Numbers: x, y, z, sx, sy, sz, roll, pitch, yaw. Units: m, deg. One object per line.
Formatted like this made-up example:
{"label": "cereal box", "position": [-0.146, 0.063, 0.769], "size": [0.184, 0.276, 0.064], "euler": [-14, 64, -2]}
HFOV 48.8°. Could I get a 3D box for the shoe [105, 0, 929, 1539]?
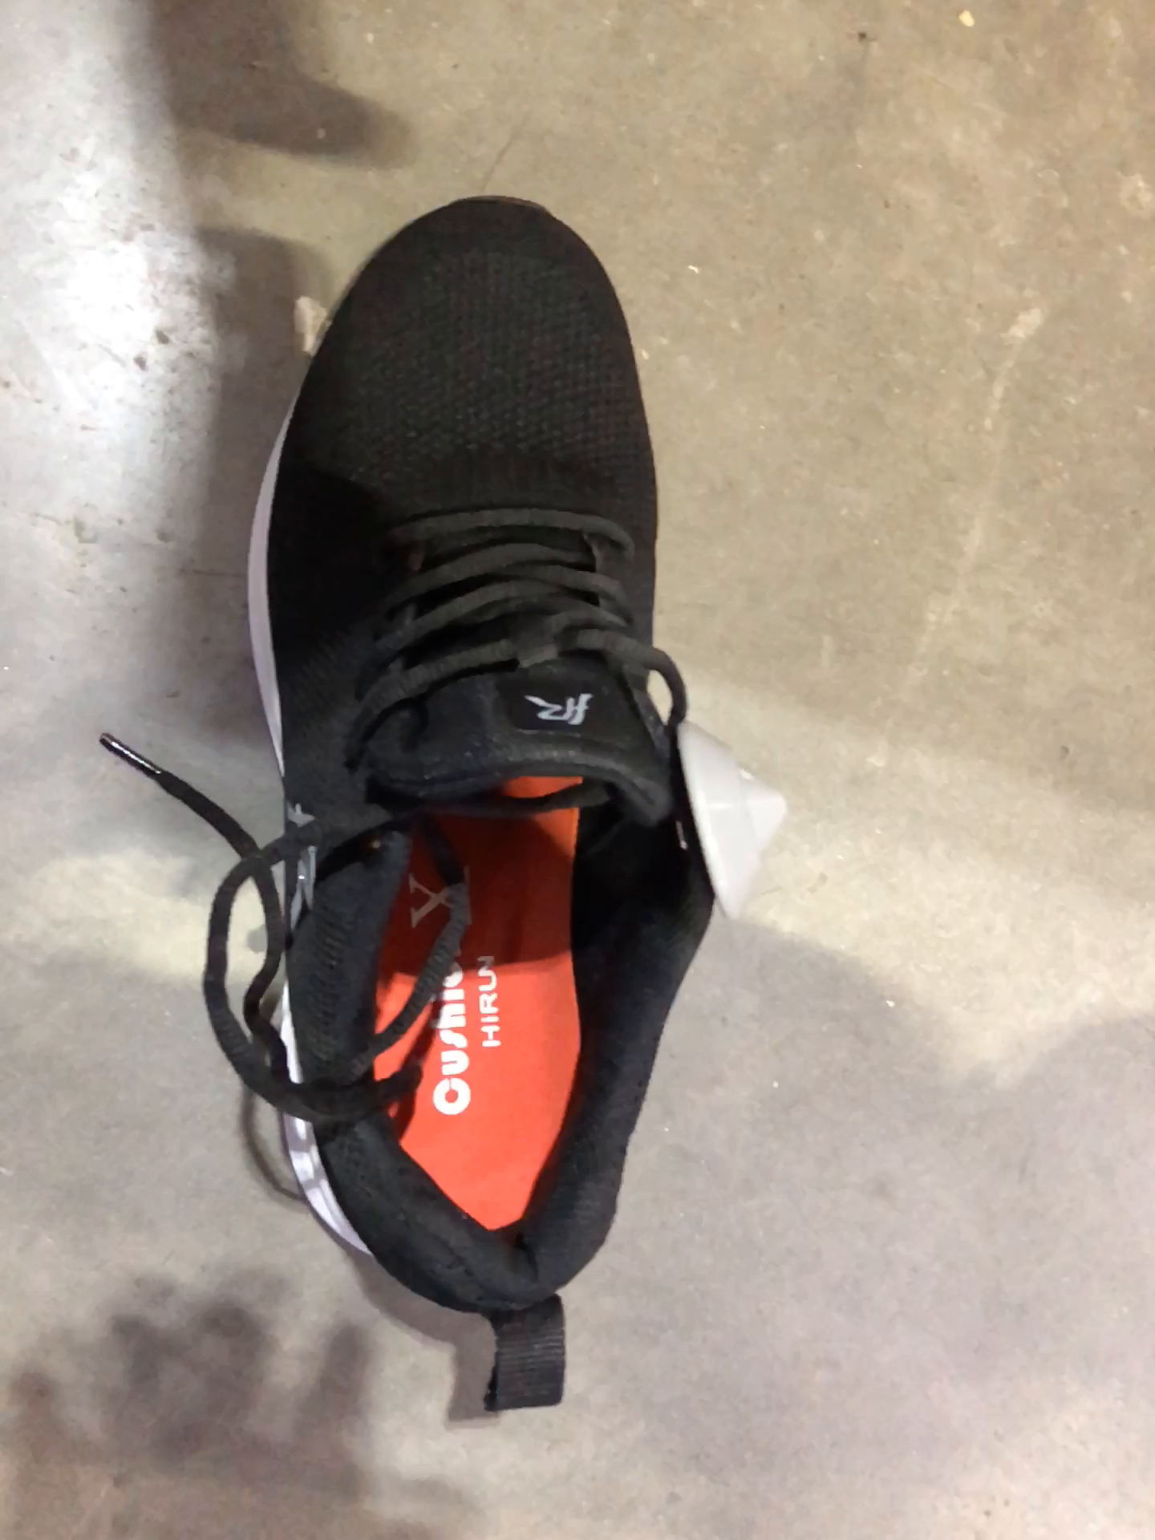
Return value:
{"label": "shoe", "position": [-0.015, -0.010, 0.275], "size": [0.130, 0.120, 0.280], "euler": [3, 85, -12]}
